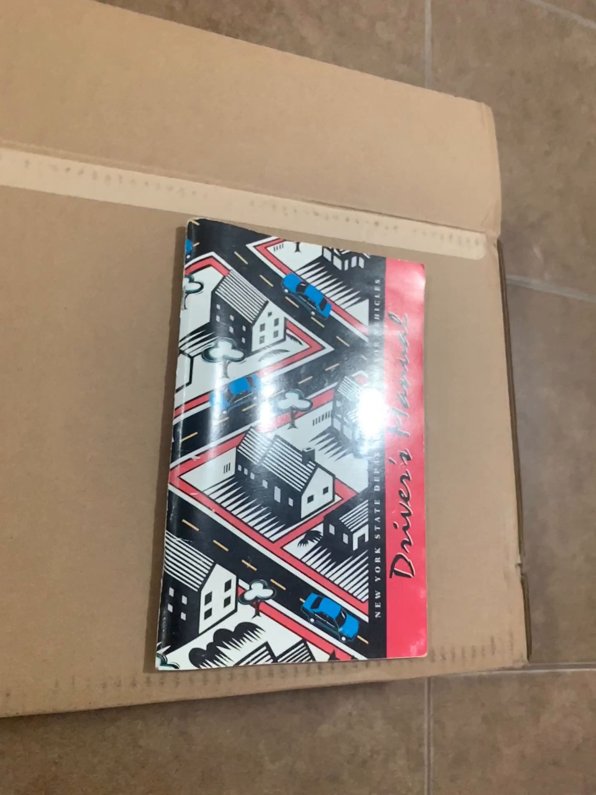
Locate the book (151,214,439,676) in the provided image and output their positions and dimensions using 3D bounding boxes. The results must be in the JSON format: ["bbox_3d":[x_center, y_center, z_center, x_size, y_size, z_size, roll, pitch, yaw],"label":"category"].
[{"bbox_3d":[0.005,0.021,0.301,0.134,0.013,0.207,6,77,-19],"label":"book"}]
